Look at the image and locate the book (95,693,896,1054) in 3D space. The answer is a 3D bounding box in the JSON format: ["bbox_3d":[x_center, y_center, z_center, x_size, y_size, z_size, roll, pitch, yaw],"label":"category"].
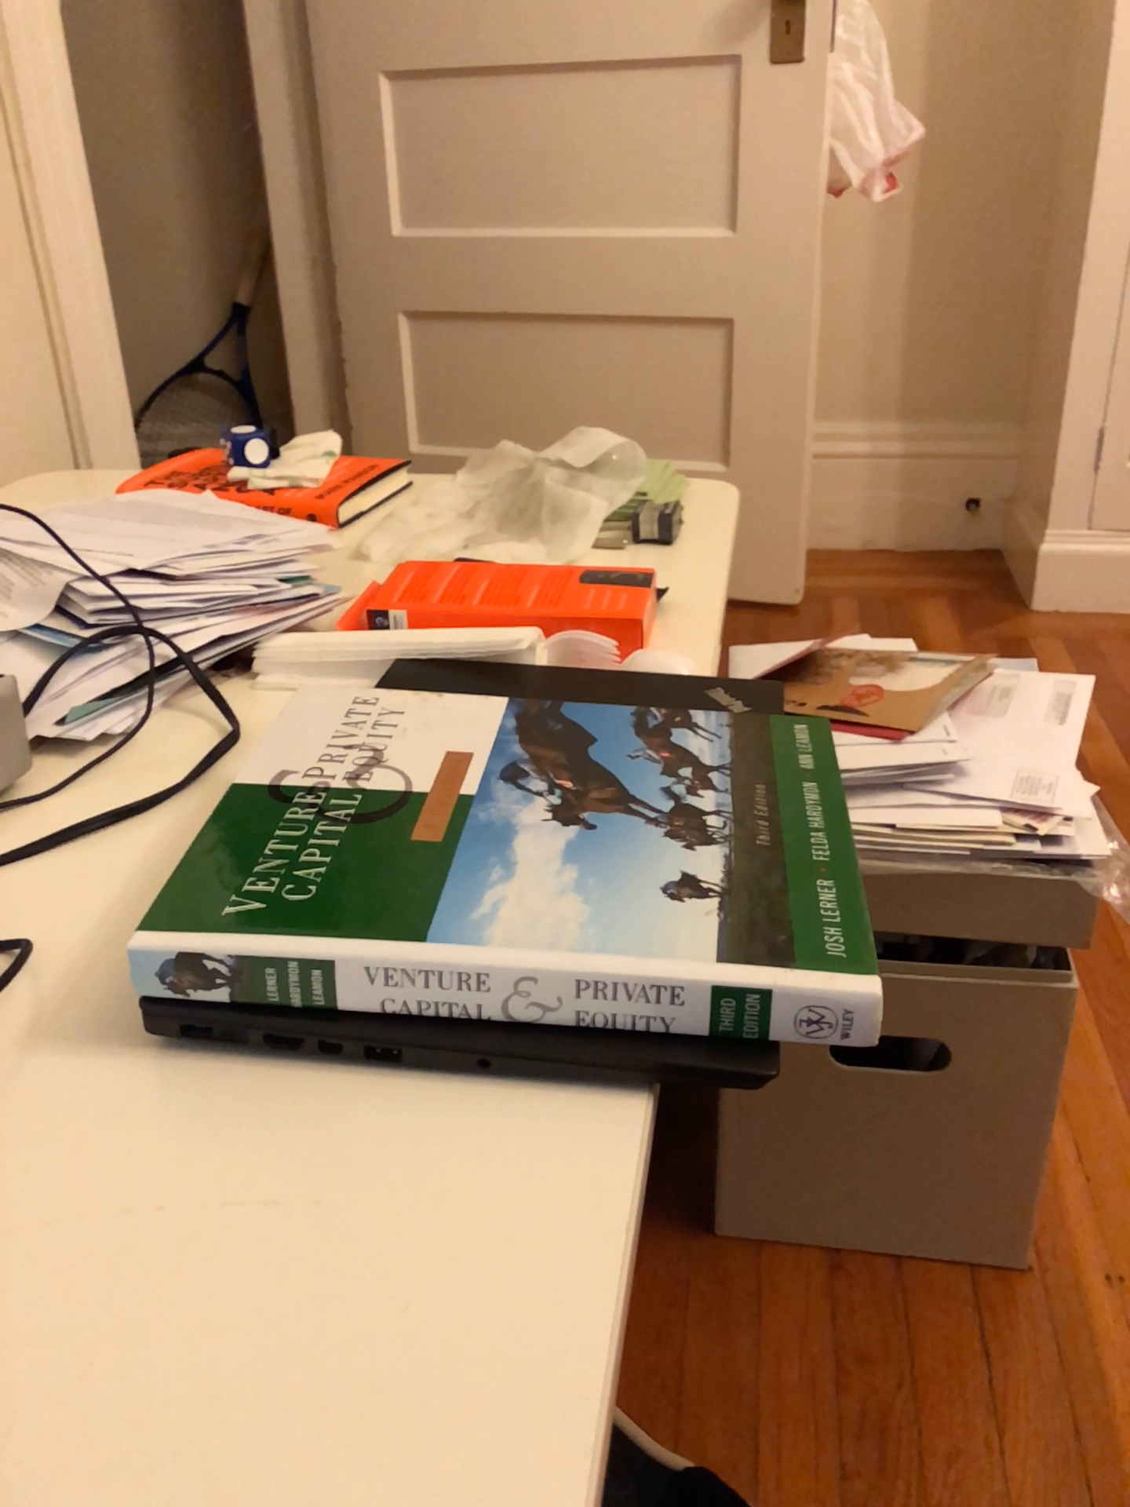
[{"bbox_3d":[-0.017,0.035,0.522,0.270,0.030,0.221,2,26,5],"label":"book"}]
